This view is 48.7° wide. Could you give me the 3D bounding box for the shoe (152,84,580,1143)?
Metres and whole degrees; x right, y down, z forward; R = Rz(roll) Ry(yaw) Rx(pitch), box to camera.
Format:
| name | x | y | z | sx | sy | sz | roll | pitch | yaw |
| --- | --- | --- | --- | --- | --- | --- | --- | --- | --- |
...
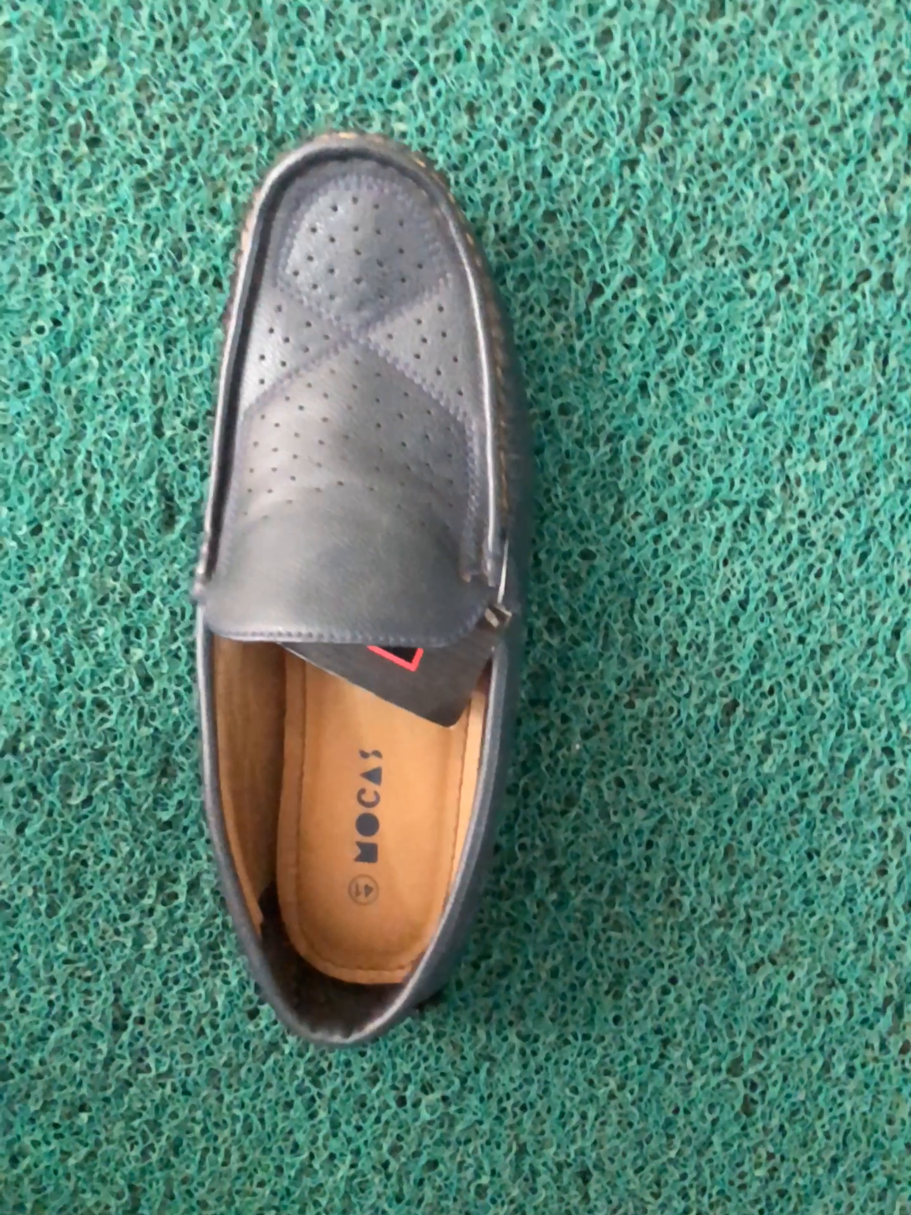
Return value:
| name | x | y | z | sx | sy | sz | roll | pitch | yaw |
| --- | --- | --- | --- | --- | --- | --- | --- | --- | --- |
| shoe | -0.026 | 0.005 | 0.305 | 0.100 | 0.070 | 0.280 | 4 | 97 | 2 |
